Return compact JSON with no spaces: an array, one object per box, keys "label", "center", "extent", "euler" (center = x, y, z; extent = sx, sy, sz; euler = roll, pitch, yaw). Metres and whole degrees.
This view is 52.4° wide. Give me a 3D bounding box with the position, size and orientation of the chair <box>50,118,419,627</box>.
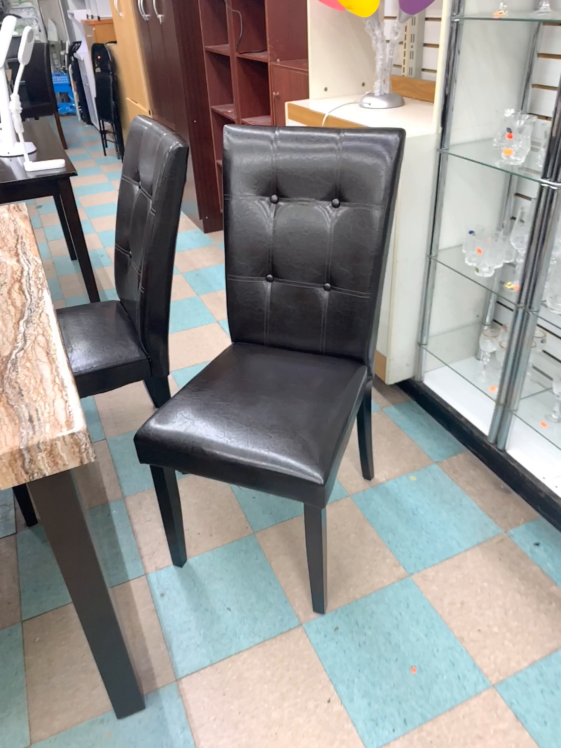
[{"label":"chair","center":[-0.011,-0.023,1.305],"extent":[0.469,0.939,0.575],"euler":[10,36,21]}]
